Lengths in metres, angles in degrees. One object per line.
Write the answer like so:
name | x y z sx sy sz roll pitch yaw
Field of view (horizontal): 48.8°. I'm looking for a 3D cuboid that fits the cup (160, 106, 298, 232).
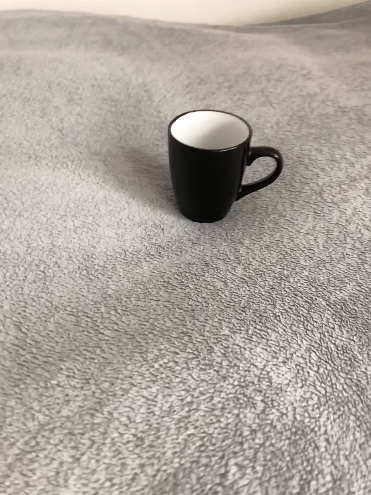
cup | 0.043 -0.087 0.443 0.128 0.089 0.091 7 41 3
